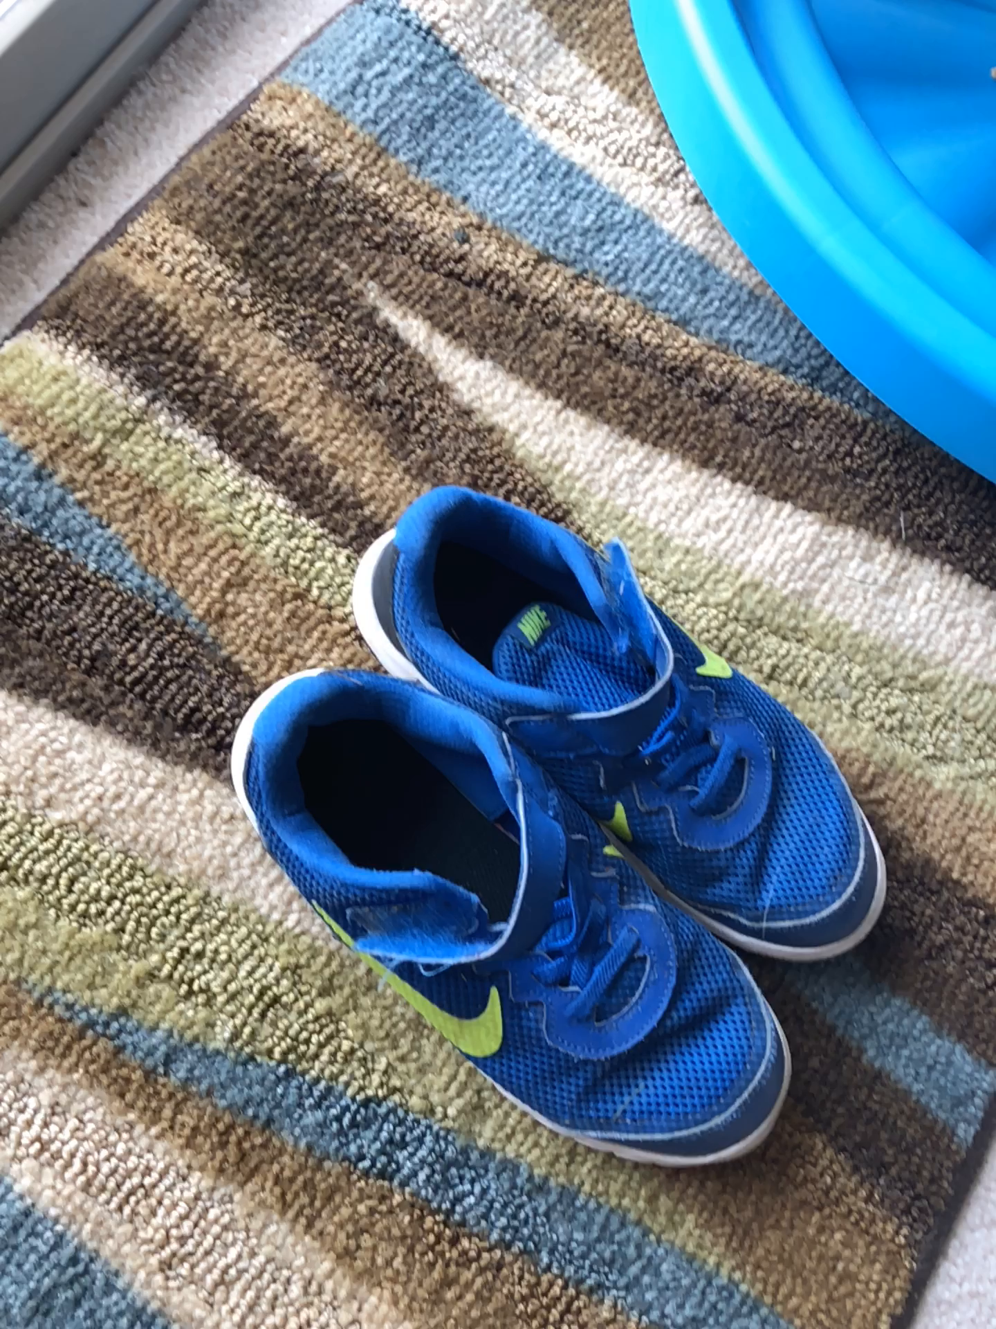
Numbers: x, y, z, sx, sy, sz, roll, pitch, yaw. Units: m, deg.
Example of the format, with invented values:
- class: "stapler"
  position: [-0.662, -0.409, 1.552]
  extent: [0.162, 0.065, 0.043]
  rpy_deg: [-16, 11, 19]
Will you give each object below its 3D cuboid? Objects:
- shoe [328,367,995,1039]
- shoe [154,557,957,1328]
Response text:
- class: "shoe"
  position: [0.064, 0.016, 0.391]
  extent: [0.230, 0.075, 0.104]
  rpy_deg: [37, 72, 2]
- class: "shoe"
  position: [0.015, 0.087, 0.364]
  extent: [0.233, 0.075, 0.102]
  rpy_deg: [40, 72, 3]
